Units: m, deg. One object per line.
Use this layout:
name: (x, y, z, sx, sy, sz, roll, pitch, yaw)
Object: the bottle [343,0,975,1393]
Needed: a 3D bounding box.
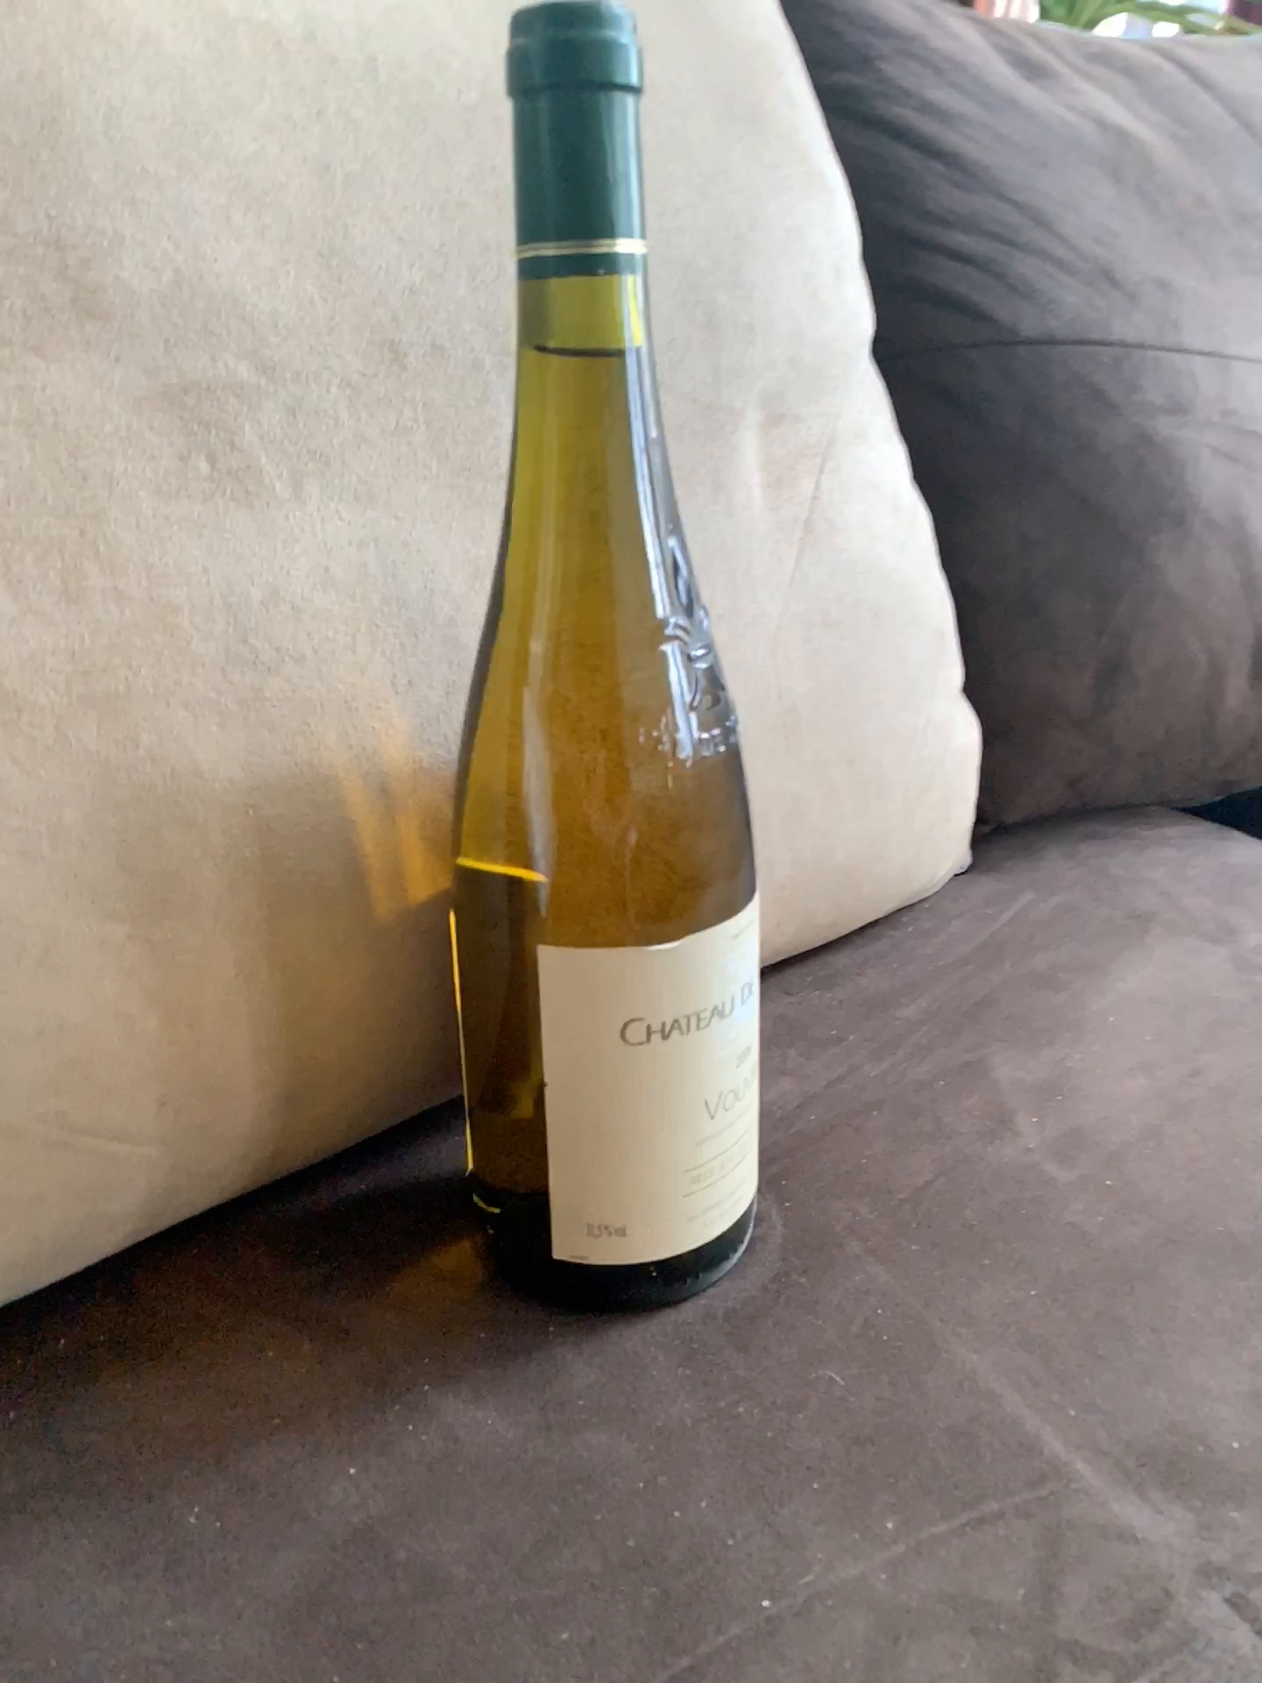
bottle: (0.003, -0.032, 0.318, 0.090, 0.308, 0.100, 15, 26, 24)
